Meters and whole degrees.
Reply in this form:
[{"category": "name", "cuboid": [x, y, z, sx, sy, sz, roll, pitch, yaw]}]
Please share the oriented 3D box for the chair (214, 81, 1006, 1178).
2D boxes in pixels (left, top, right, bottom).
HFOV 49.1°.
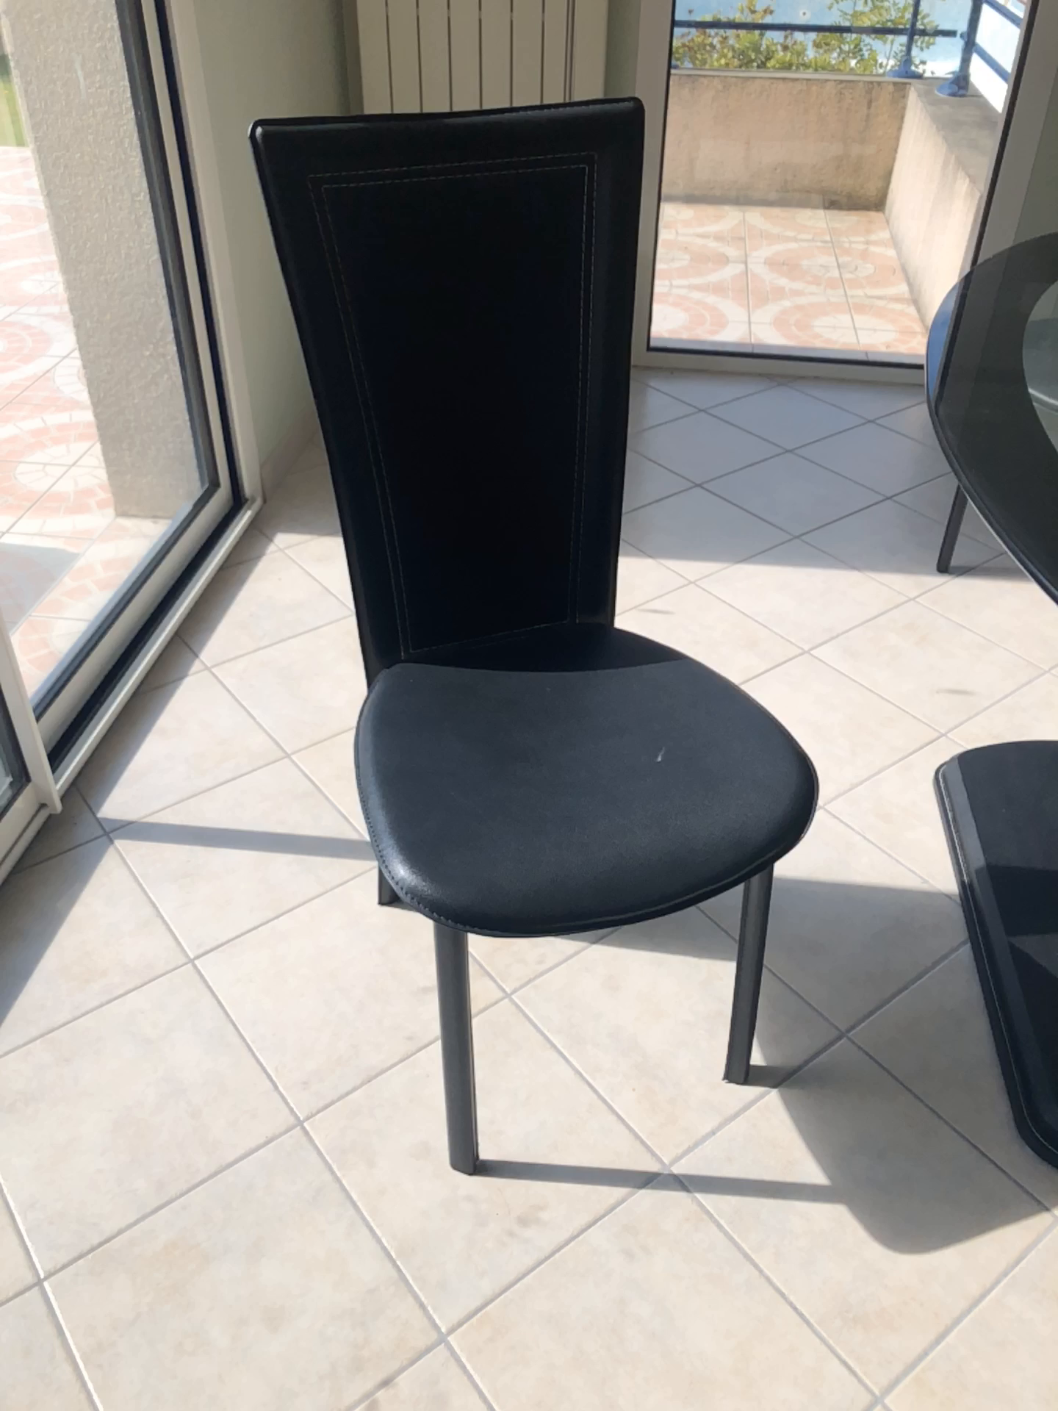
[{"category": "chair", "cuboid": [0.021, -0.077, 1.158, 0.451, 0.895, 0.502, -12, 37, -17]}]
